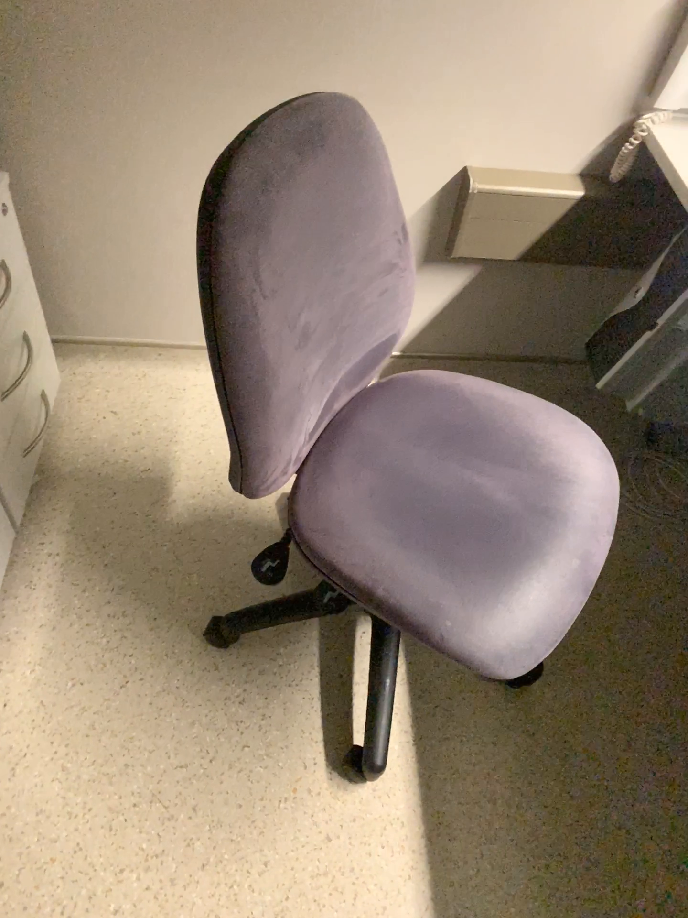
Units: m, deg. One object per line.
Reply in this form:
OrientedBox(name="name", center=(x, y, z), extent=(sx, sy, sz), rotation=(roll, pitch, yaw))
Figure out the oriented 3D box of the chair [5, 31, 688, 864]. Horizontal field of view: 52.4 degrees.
OrientedBox(name="chair", center=(0.106, 0.027, 1.092), extent=(0.681, 0.902, 0.675), rotation=(27, 53, 13))
